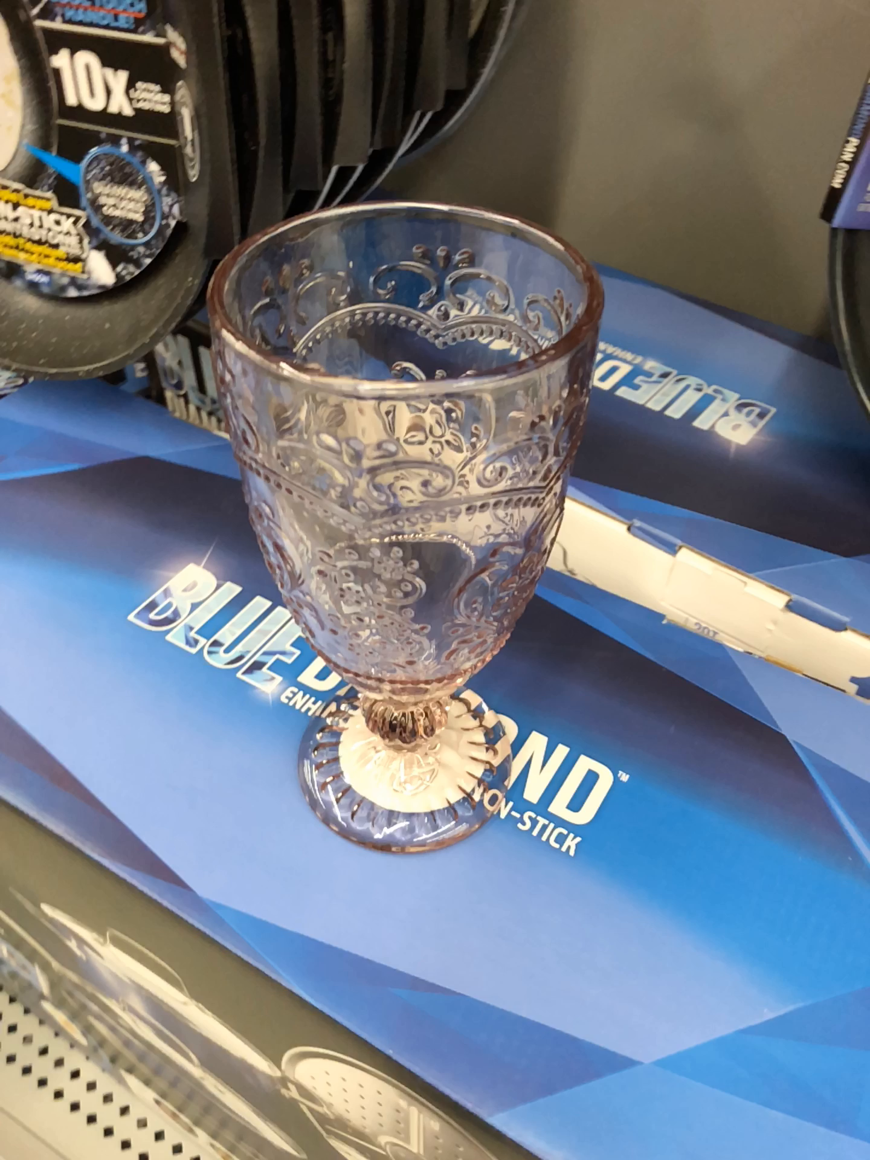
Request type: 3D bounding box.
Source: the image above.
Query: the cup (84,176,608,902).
[{"bbox_3d":[-0.012,-0.004,0.260,0.089,0.168,0.086,0,43,0],"label":"cup"}]
